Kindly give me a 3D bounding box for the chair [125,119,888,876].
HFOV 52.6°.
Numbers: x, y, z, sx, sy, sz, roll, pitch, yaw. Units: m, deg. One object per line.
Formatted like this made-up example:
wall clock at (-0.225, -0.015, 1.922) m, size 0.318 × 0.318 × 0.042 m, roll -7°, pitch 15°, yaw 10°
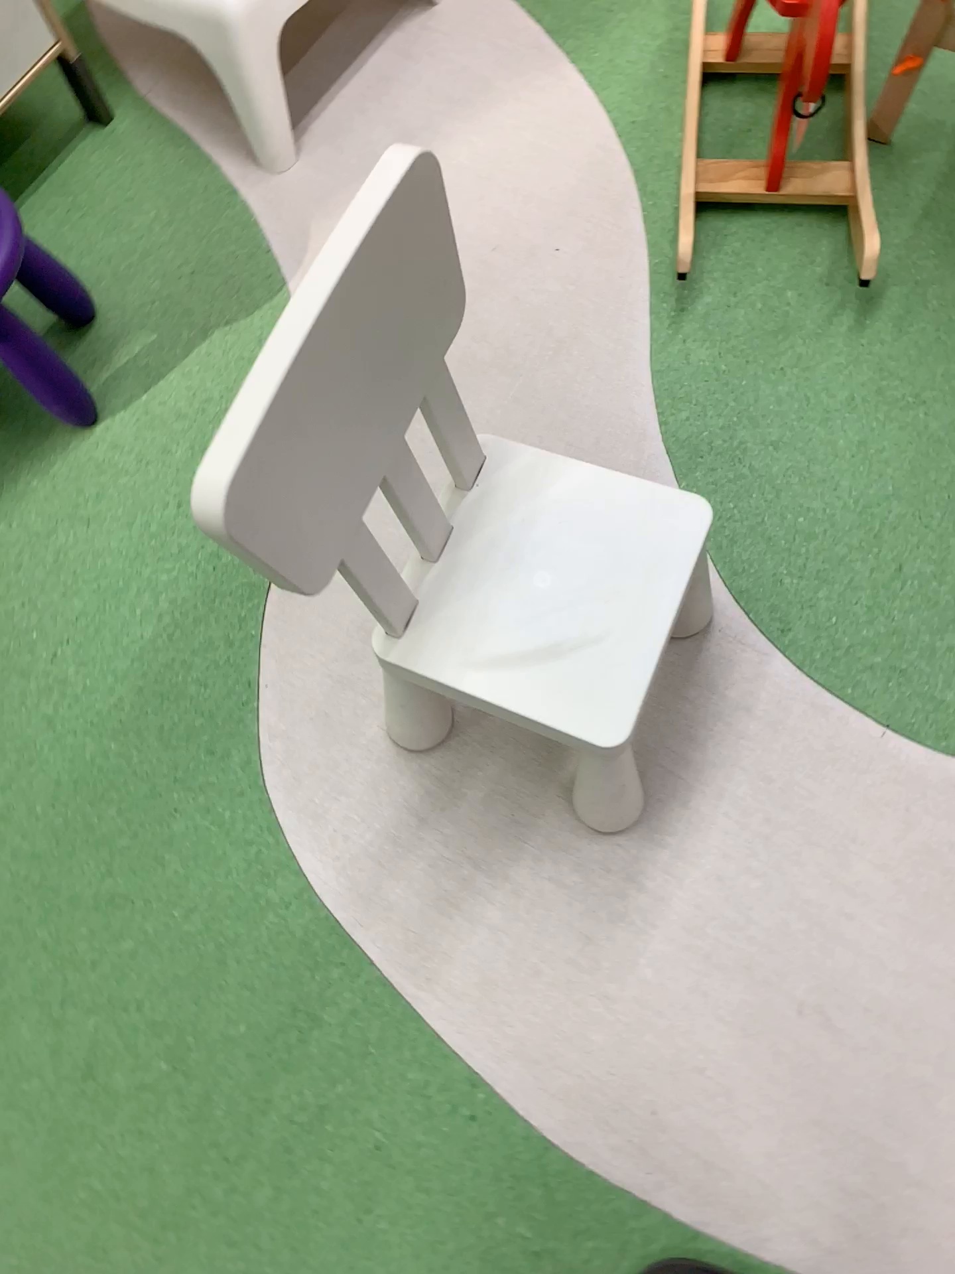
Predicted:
chair at (0.055, -0.080, 0.998) m, size 0.440 × 0.599 × 0.420 m, roll 21°, pitch 72°, yaw 13°
